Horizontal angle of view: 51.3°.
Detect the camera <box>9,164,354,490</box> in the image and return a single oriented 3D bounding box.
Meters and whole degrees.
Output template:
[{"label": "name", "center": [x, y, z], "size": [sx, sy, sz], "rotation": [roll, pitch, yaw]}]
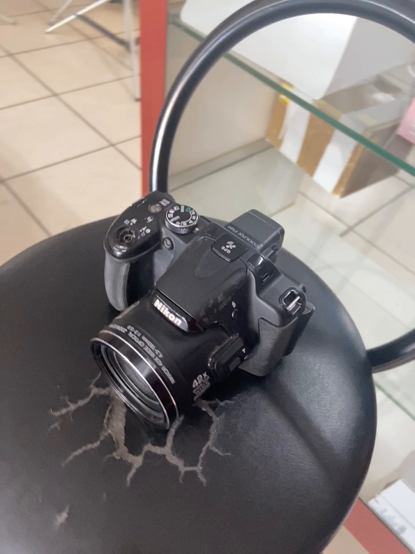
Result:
[{"label": "camera", "center": [-0.013, 0.016, 0.247], "size": [0.130, 0.070, 0.121], "rotation": [36, 53, 21]}]
